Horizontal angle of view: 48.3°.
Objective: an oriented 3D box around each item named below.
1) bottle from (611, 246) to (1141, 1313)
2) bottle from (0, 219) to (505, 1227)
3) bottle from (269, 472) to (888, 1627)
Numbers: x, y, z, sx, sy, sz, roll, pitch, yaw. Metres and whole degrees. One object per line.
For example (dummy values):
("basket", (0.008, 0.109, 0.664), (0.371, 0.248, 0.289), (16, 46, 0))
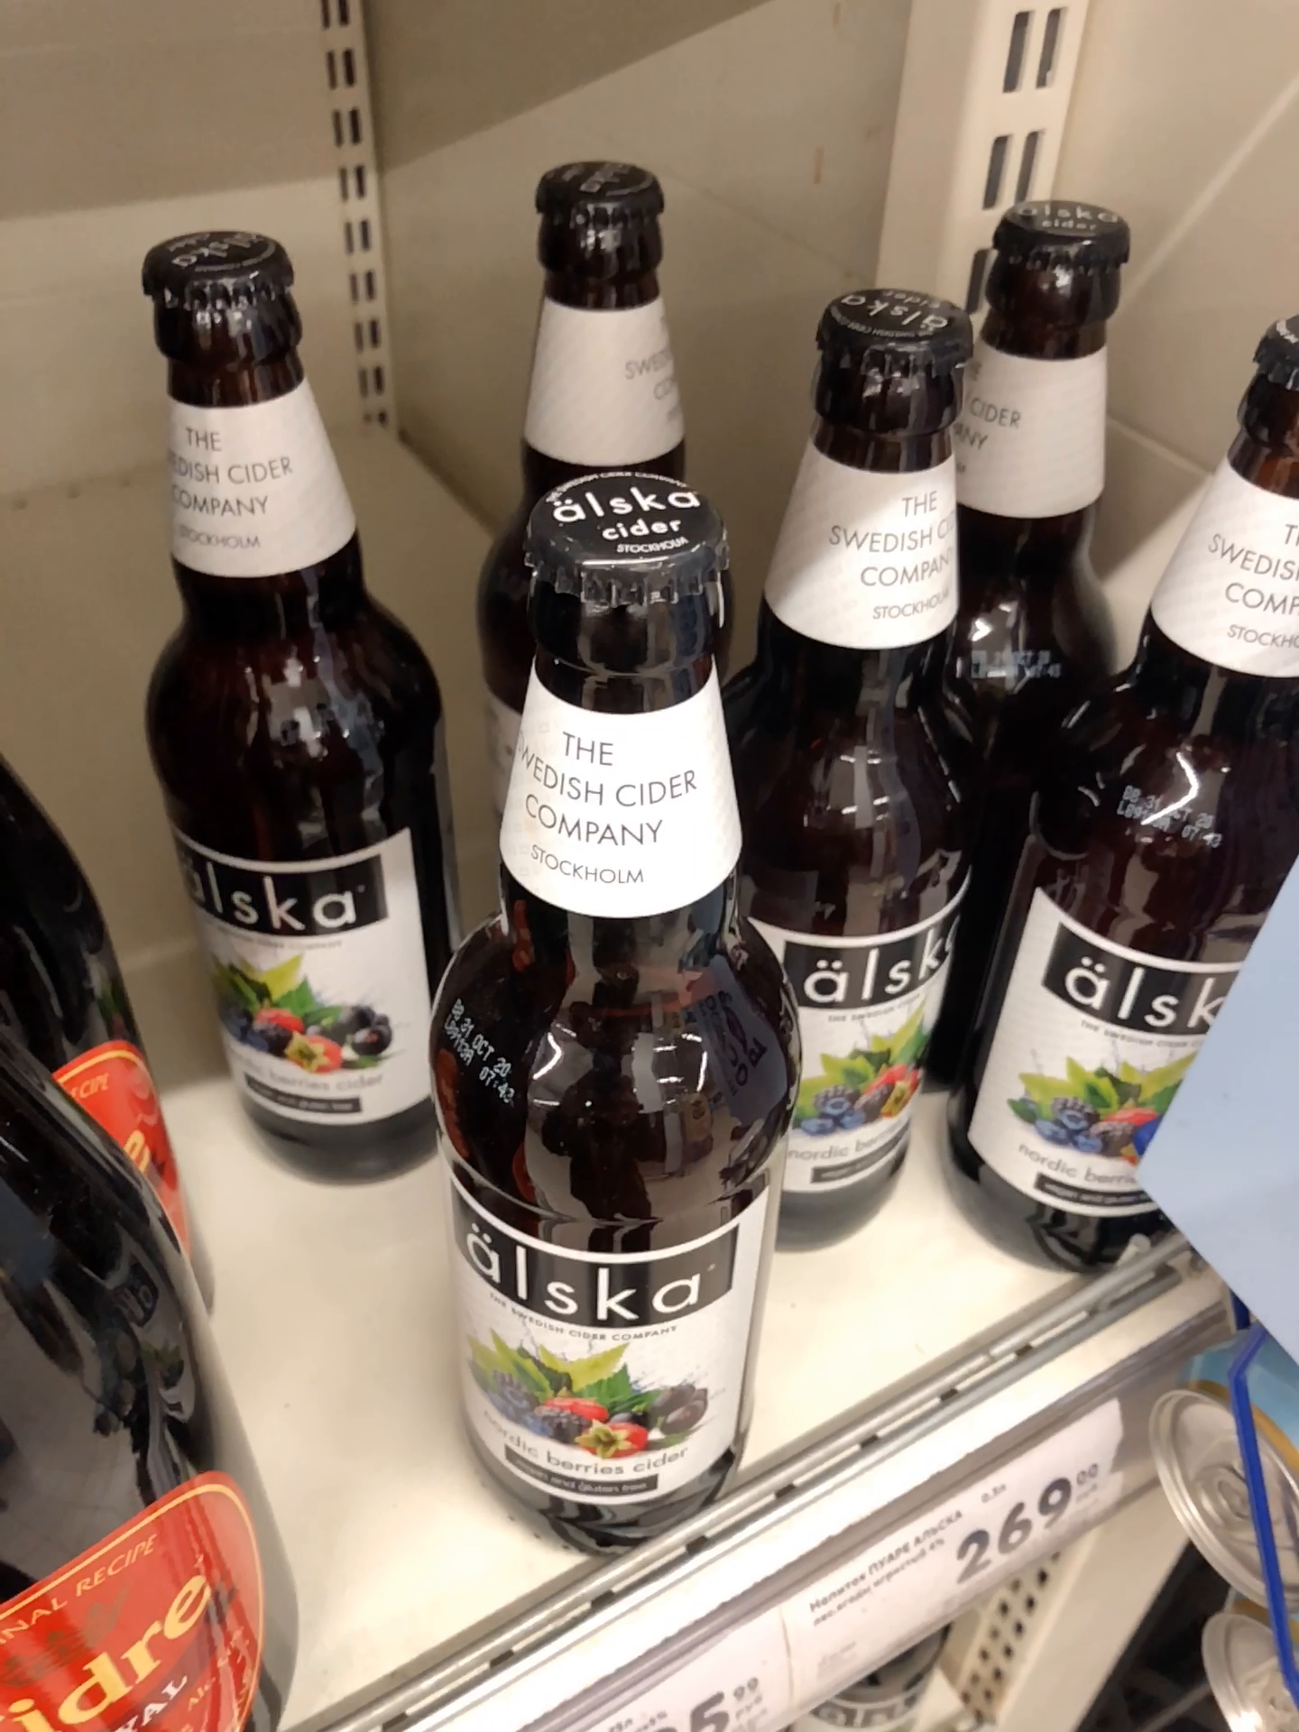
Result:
("bottle", (0.038, -0.004, 0.339), (0.070, 0.243, 0.063), (-26, 48, -28))
("bottle", (-0.084, -0.019, 0.350), (0.075, 0.235, 0.077), (1, 41, -1))
("bottle", (-0.007, 0.052, 0.263), (0.070, 0.229, 0.063), (6, 41, 6))
